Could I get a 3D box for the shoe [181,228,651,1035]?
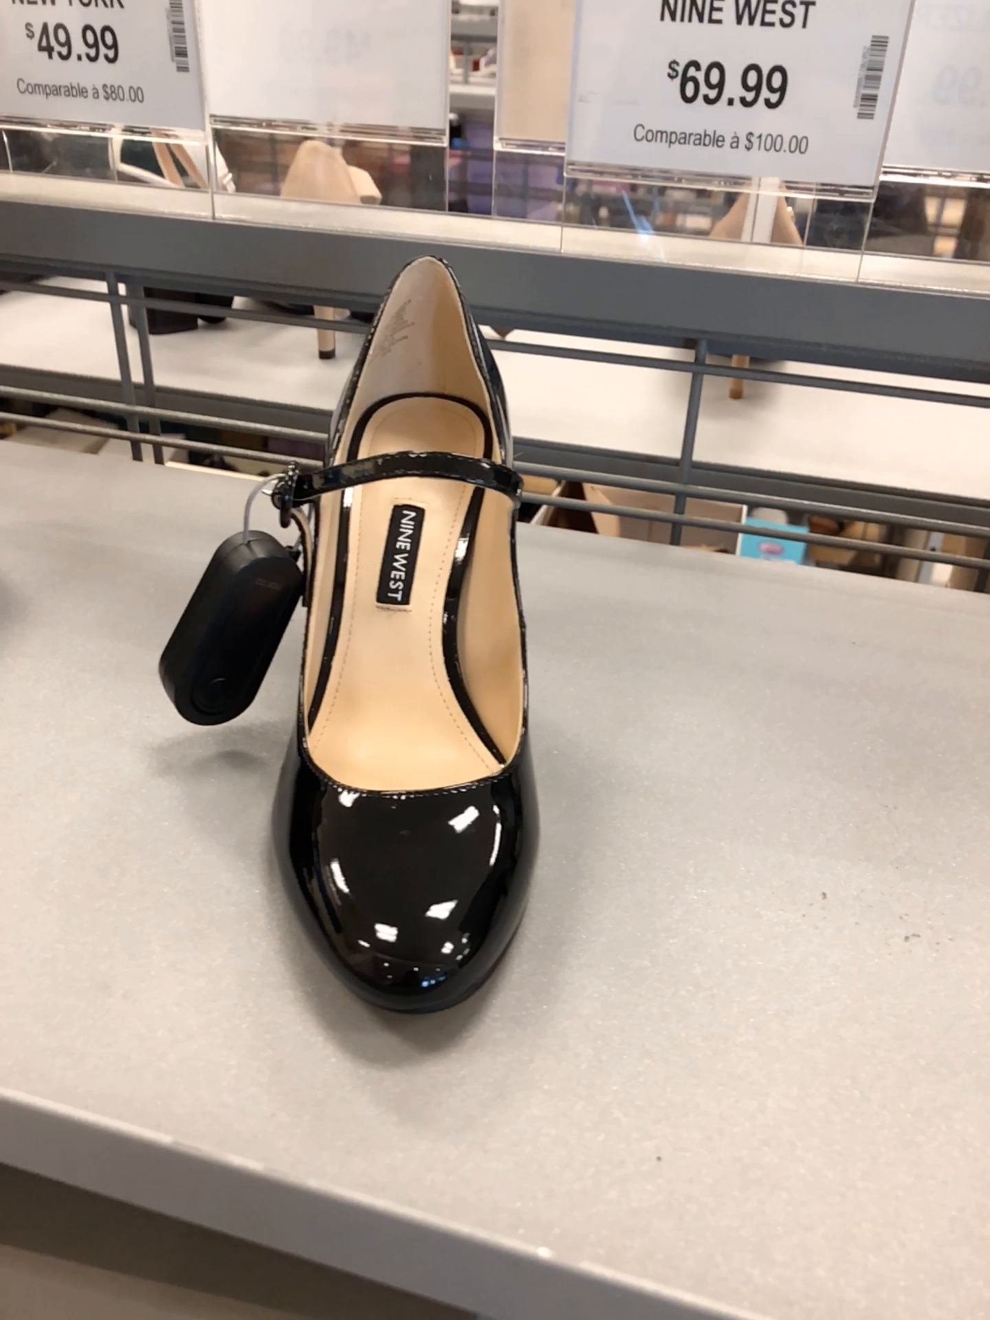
[{"bbox_3d":[-0.021,-0.034,0.358,0.090,0.151,0.258,1,32,-2],"label":"shoe"}]
